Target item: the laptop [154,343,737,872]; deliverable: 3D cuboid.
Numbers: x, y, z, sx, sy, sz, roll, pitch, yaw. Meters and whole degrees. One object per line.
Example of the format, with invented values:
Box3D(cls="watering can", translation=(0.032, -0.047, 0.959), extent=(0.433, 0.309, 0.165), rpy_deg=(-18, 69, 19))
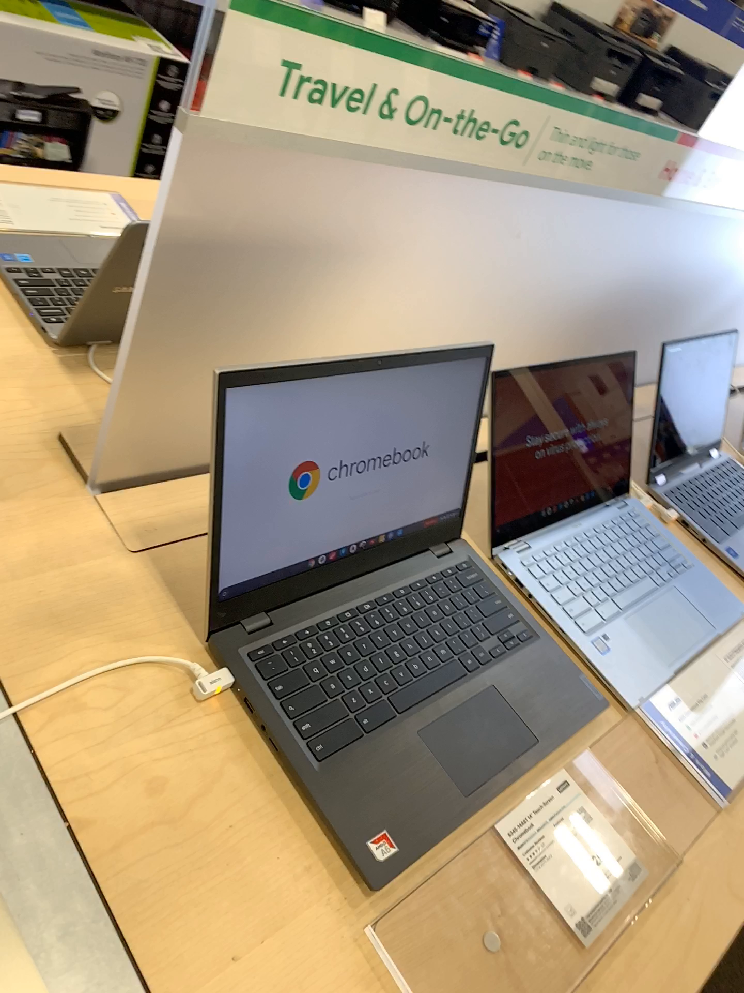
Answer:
Box3D(cls="laptop", translation=(0.056, 0.052, 0.619), extent=(0.310, 0.188, 0.299), rpy_deg=(-15, 56, -44))
